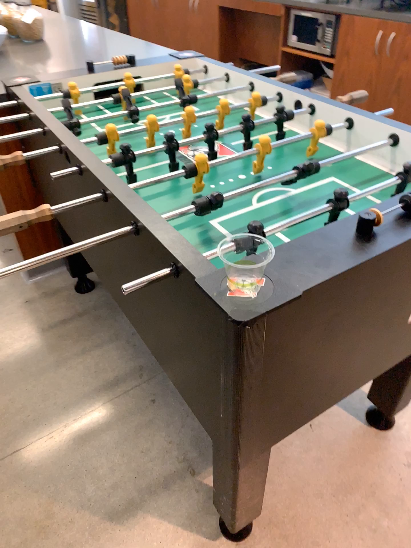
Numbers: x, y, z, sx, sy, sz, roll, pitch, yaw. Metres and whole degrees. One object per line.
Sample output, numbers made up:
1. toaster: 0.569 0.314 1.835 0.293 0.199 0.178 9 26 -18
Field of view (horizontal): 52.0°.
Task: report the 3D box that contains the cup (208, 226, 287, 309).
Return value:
1. cup: 0.053 -0.010 0.547 0.070 0.060 0.070 -1 39 1
